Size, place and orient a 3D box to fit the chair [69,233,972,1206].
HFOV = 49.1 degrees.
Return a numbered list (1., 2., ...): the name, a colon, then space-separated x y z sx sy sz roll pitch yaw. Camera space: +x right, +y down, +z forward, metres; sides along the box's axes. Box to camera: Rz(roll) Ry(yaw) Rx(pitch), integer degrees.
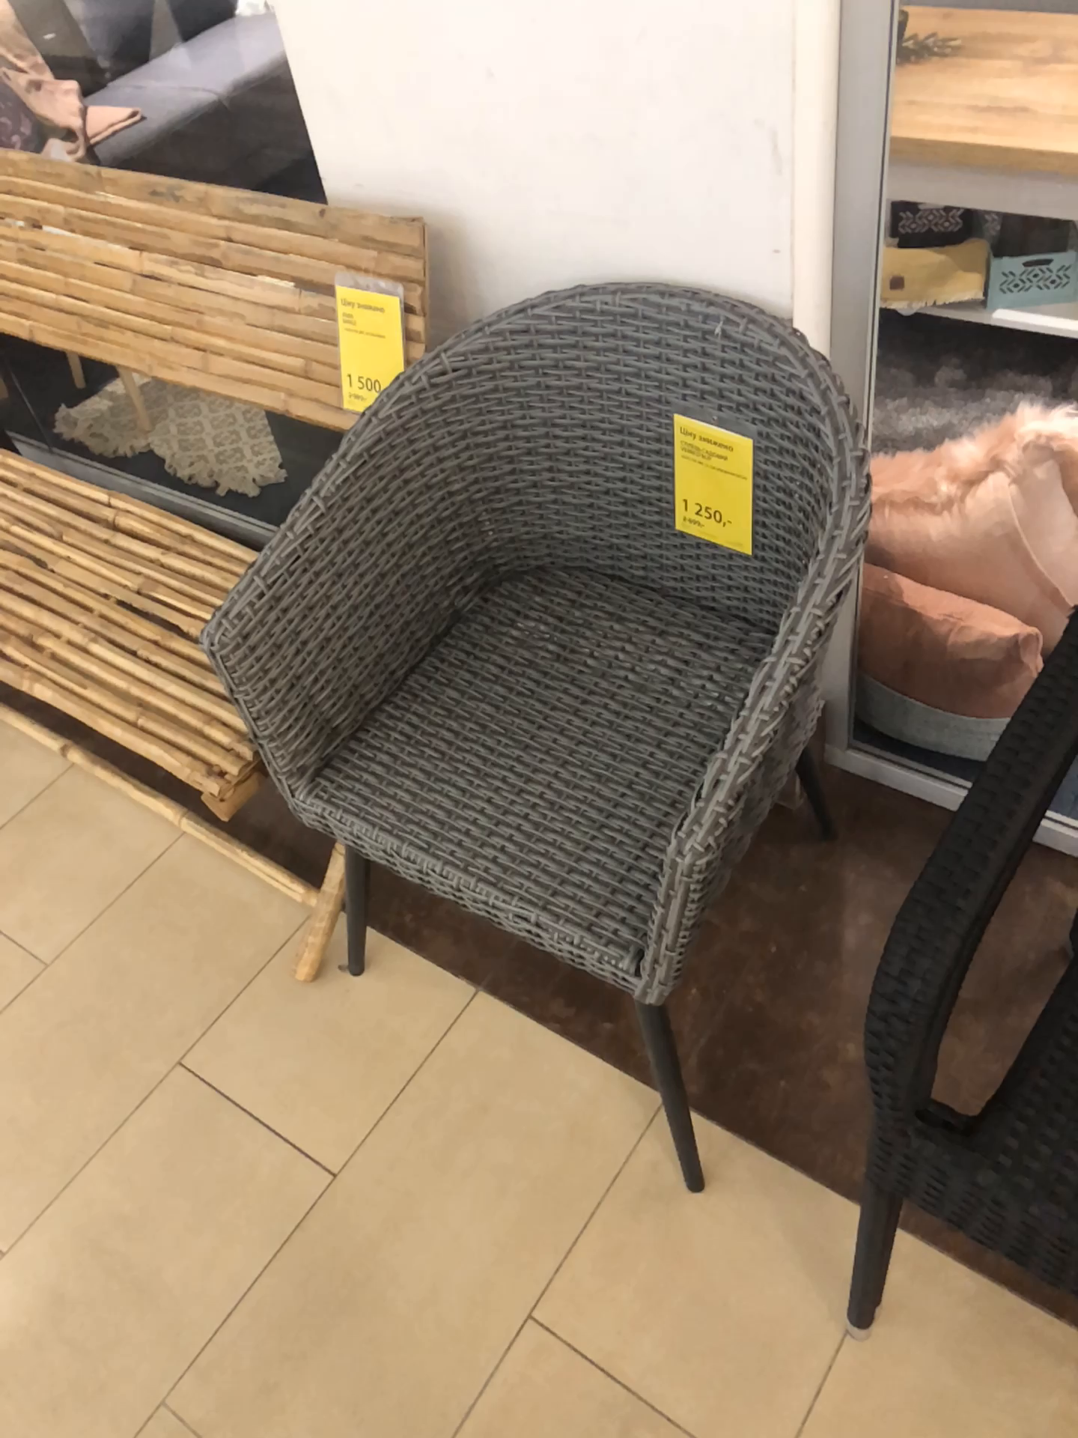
1. chair: 0.035 -0.002 1.254 0.571 0.737 0.521 23 55 29
